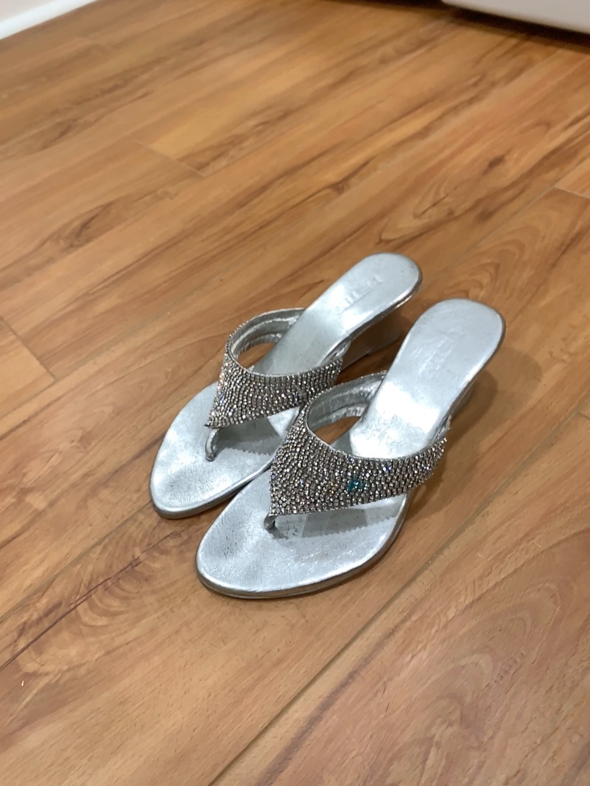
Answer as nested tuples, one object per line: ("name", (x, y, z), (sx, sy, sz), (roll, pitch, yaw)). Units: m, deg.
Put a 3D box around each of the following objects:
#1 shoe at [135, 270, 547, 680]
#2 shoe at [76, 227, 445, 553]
("shoe", (0.036, 0.033, 0.358), (0.228, 0.073, 0.095), (-40, 53, -23))
("shoe", (-0.012, -0.012, 0.407), (0.228, 0.073, 0.085), (-36, 51, -19))
